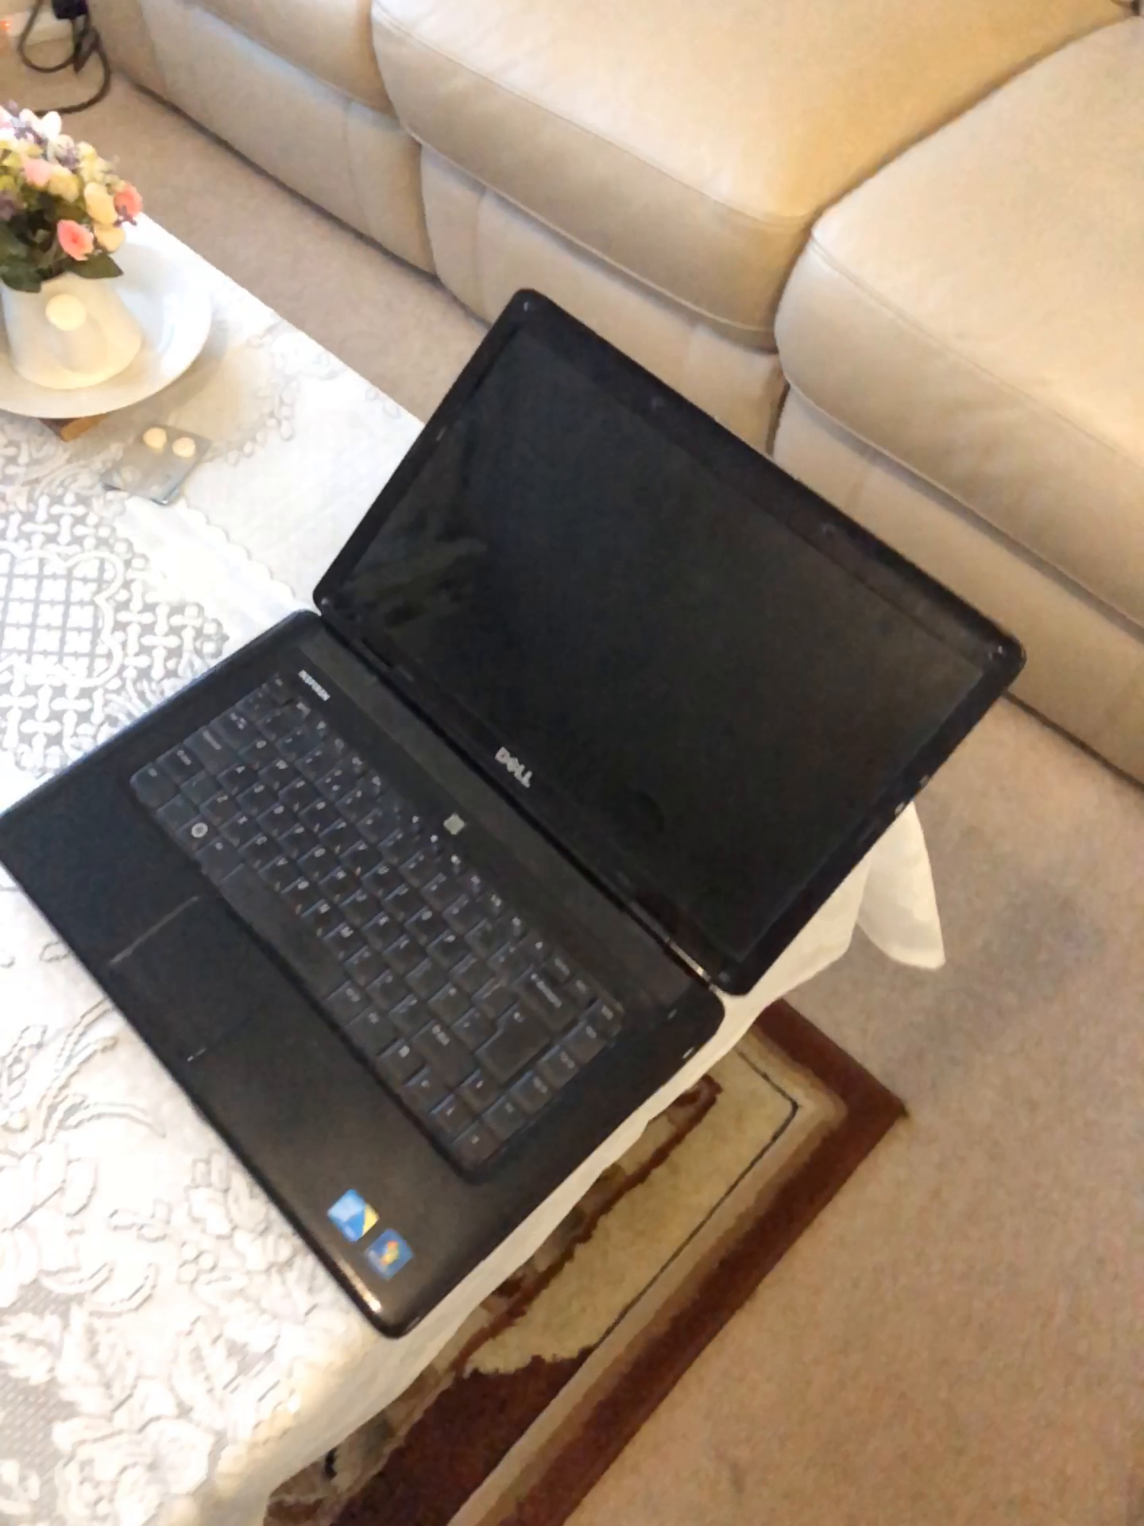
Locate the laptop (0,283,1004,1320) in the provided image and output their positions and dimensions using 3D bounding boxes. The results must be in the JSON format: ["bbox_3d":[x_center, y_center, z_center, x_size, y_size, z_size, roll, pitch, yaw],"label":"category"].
[{"bbox_3d":[-0.059,-0.012,0.673,0.419,0.122,0.364,-41,68,-19],"label":"laptop"}]
